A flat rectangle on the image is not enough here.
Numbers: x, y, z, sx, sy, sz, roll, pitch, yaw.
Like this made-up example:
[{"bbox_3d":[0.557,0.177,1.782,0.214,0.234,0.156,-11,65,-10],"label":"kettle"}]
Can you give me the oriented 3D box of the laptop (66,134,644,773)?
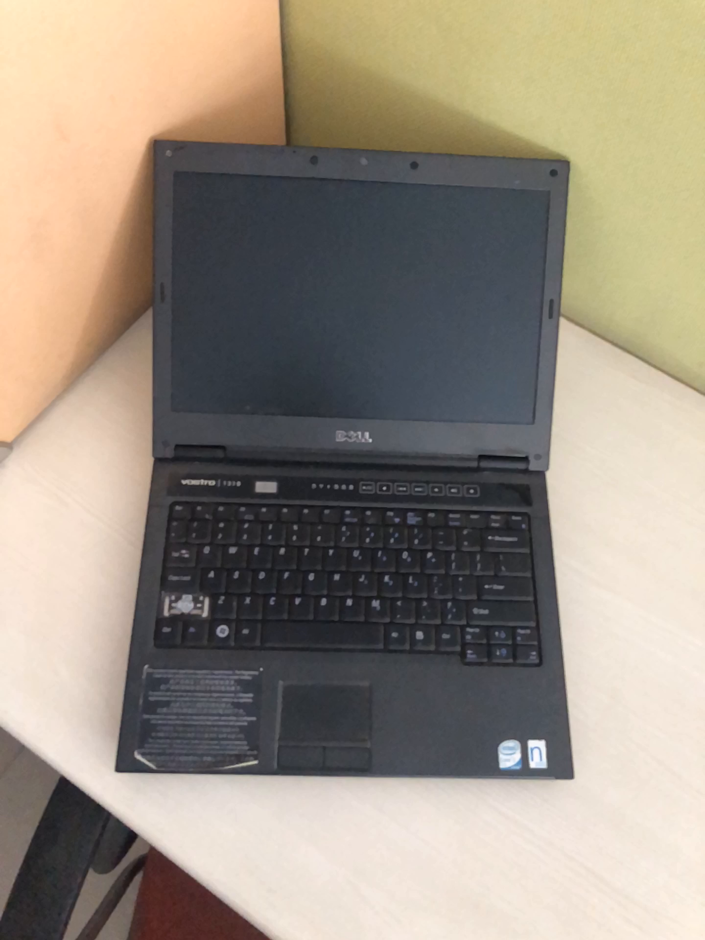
[{"bbox_3d":[0.004,-0.021,0.552,0.305,0.125,0.431,1,67,-3],"label":"laptop"}]
